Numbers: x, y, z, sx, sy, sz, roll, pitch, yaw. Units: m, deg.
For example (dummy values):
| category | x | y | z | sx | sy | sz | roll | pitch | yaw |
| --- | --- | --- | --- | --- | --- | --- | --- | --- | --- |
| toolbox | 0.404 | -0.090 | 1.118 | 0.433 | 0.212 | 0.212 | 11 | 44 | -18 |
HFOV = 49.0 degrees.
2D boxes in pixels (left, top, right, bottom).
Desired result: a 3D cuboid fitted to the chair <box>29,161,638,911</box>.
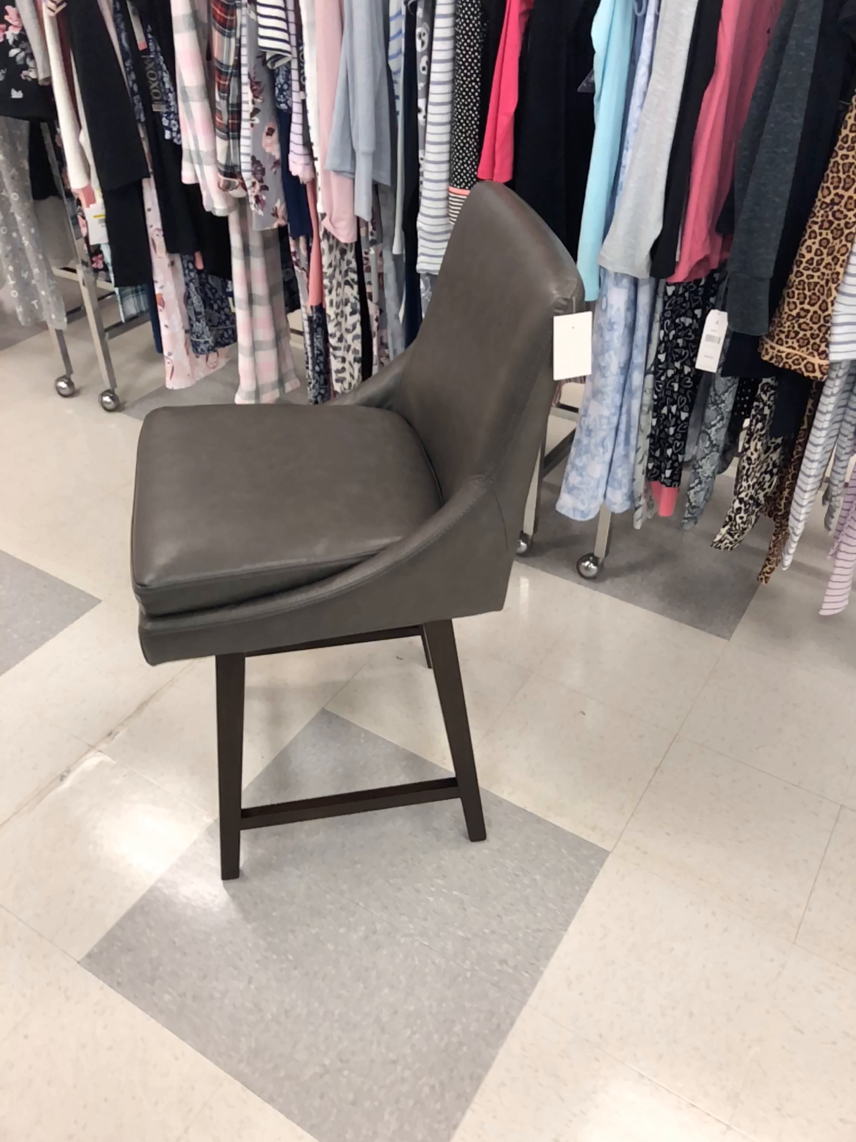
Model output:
| category | x | y | z | sx | sy | sz | roll | pitch | yaw |
| --- | --- | --- | --- | --- | --- | --- | --- | --- | --- |
| chair | -0.118 | -0.027 | 1.366 | 0.578 | 0.917 | 0.495 | -6 | 39 | -8 |
